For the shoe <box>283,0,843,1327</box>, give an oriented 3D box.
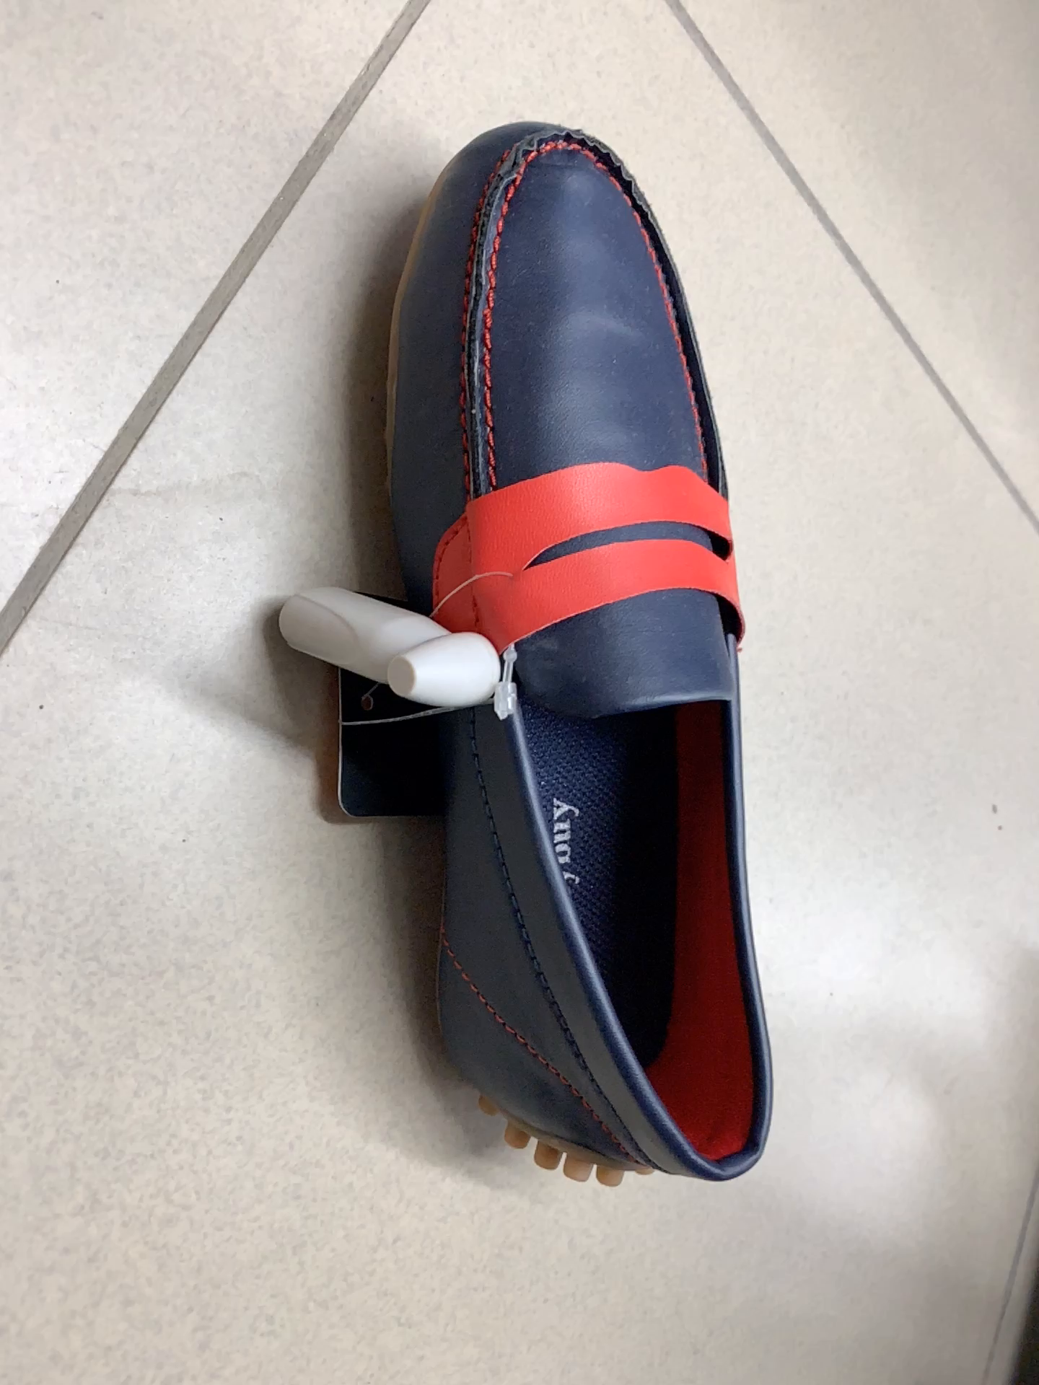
[{"bbox_3d":[0.011,-0.009,0.199,0.080,0.050,0.200,-5,93,-40],"label":"shoe"}]
